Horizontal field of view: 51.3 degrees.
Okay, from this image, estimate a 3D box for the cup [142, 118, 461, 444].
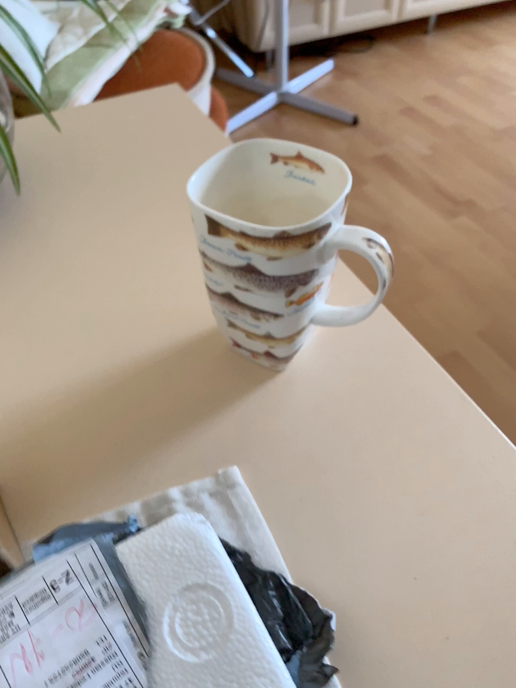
[{"bbox_3d":[0.025,-0.042,0.339,0.140,0.129,0.101,27,54,23],"label":"cup"}]
